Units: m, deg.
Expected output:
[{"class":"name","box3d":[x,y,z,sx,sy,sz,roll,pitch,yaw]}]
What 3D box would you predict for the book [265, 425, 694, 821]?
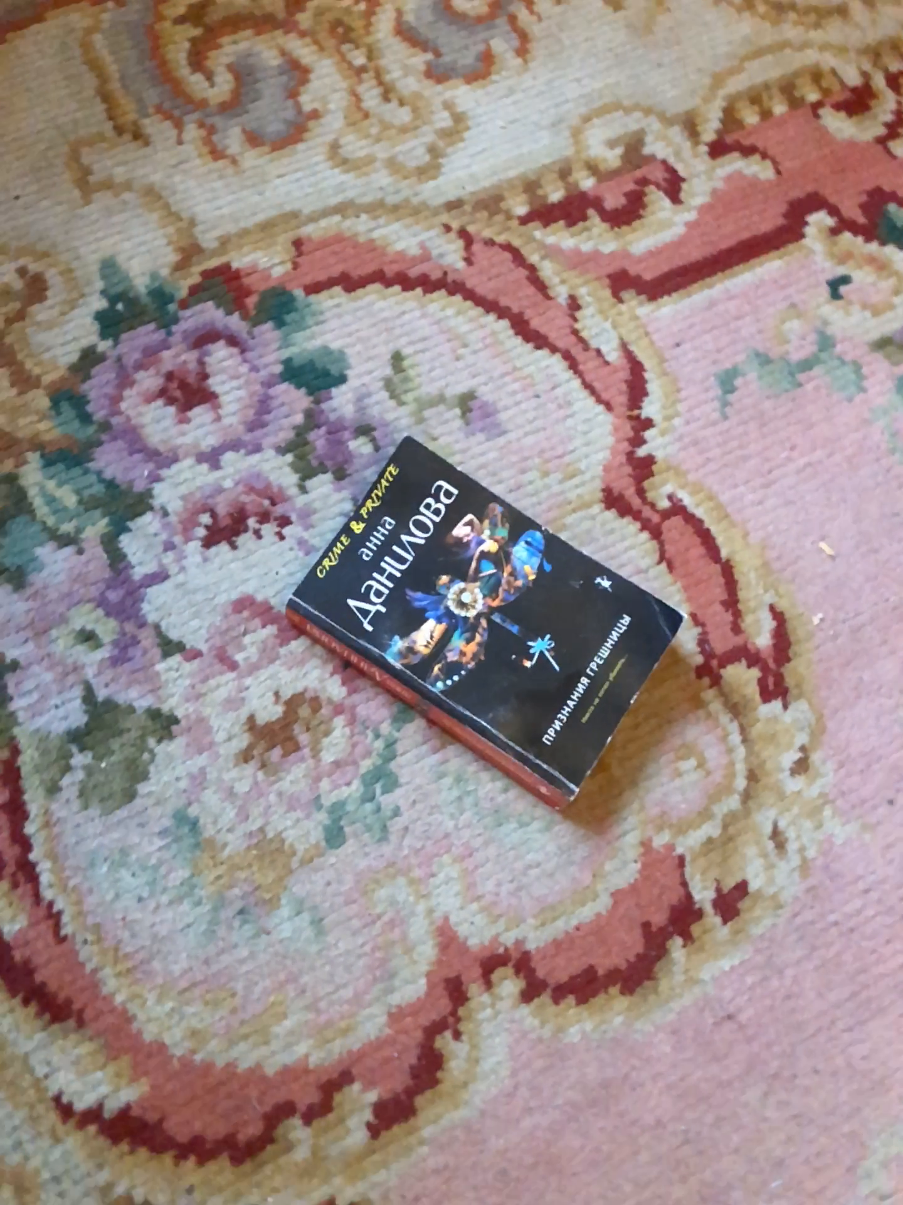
[{"class":"book","box3d":[0.013,0.009,0.480,0.165,0.050,0.110,33,73,7]}]
